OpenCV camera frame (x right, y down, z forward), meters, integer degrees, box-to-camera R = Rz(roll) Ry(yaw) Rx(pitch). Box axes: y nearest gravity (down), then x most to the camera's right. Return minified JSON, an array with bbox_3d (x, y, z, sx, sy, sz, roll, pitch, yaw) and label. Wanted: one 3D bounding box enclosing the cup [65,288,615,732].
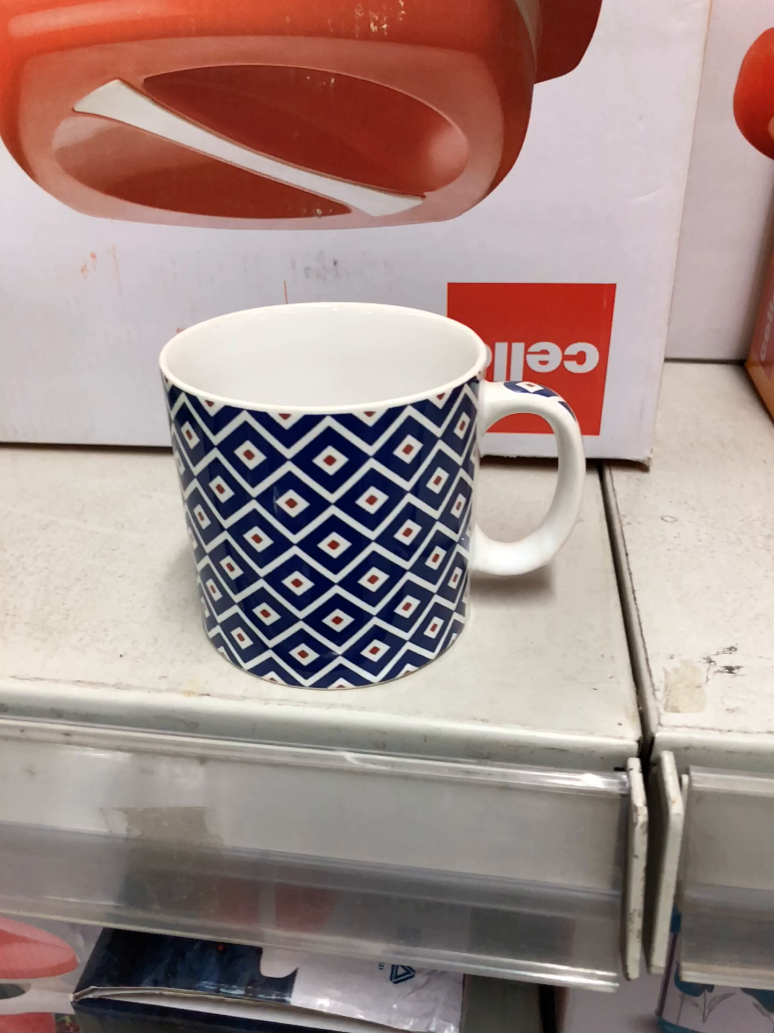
[{"bbox_3d":[-0.005,-0.007,0.224,0.110,0.079,0.081,3,30,7],"label":"cup"}]
